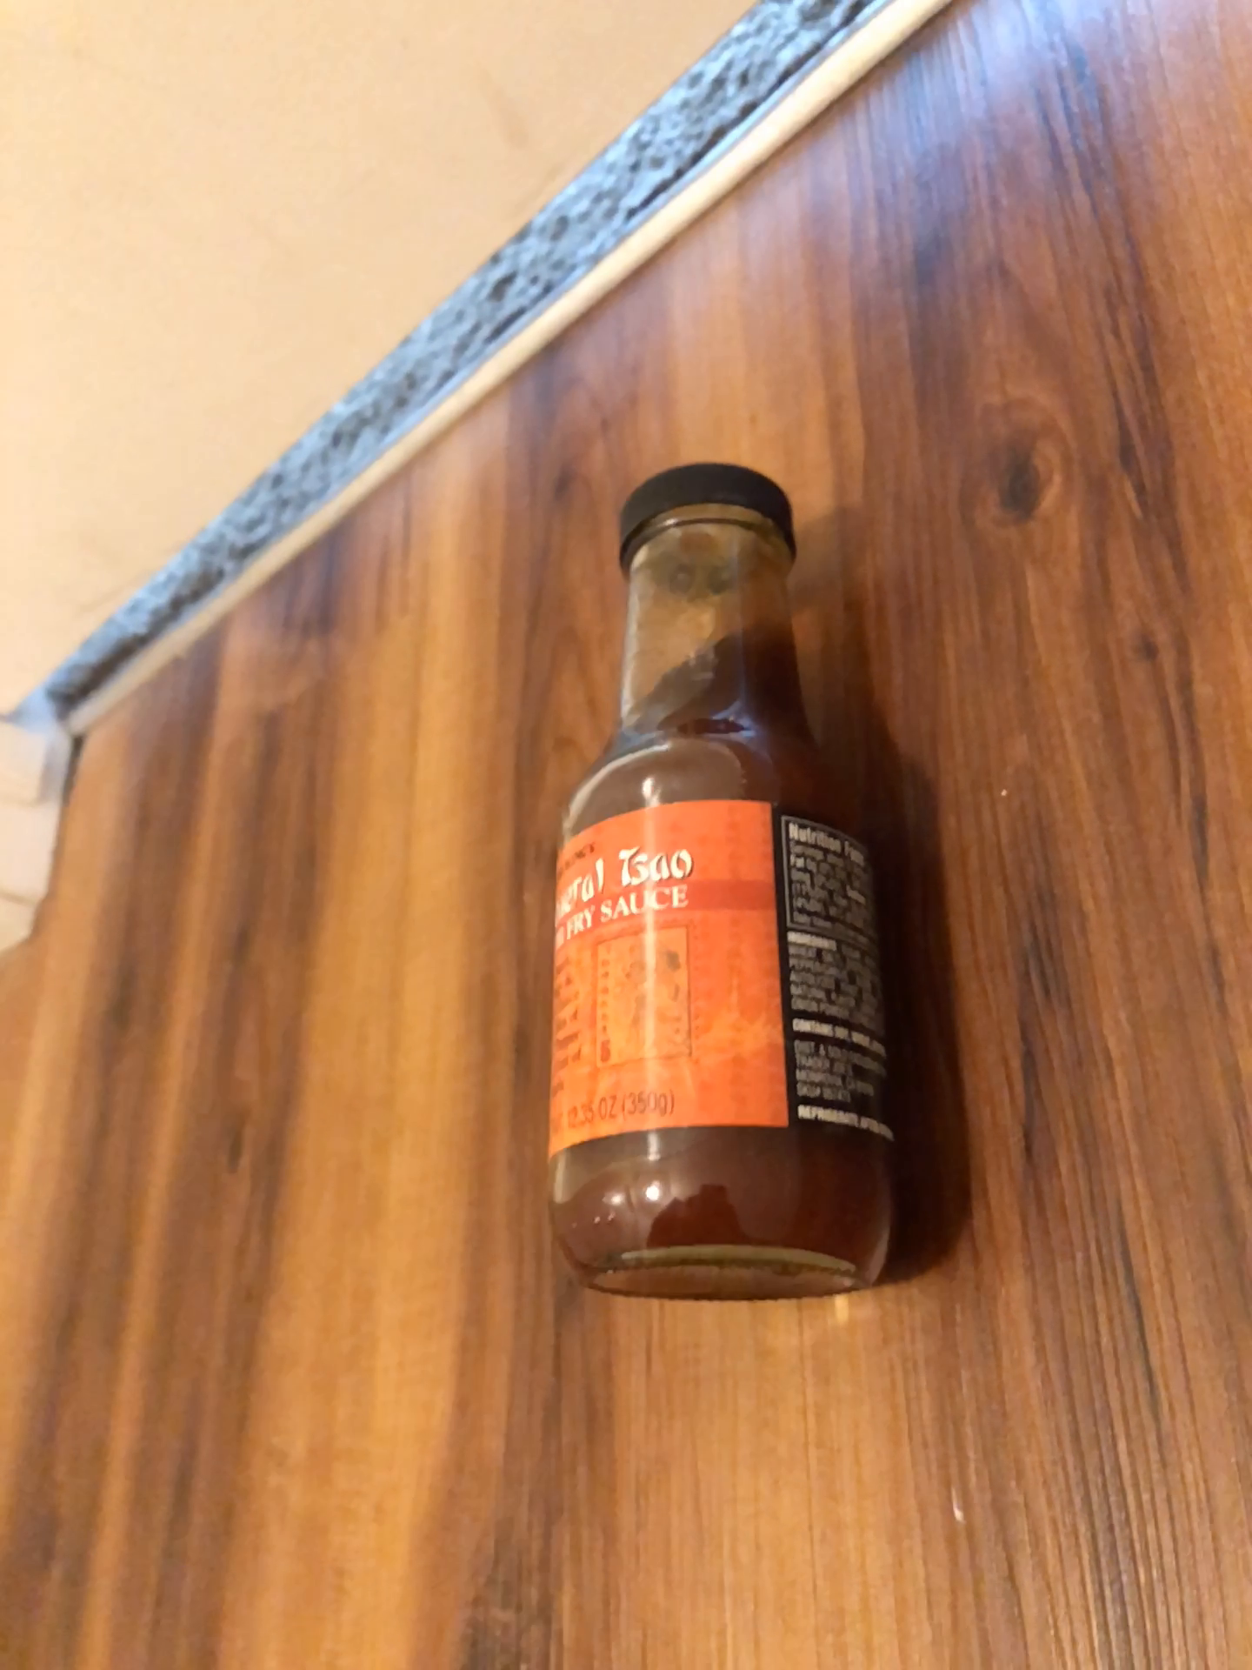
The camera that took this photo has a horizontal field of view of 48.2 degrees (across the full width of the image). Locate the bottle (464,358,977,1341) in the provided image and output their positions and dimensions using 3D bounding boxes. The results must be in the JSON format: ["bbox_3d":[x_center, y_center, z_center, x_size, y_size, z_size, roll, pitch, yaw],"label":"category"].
[{"bbox_3d":[0.017,0.003,0.287,0.069,0.060,0.180,-29,51,45],"label":"bottle"}]
